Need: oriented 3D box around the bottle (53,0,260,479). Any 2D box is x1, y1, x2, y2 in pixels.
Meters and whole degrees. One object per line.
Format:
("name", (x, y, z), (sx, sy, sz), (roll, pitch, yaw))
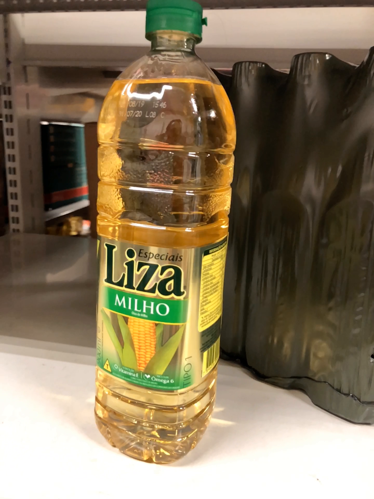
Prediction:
("bottle", (-0.014, -0.012, 0.236), (0.080, 0.249, 0.070), (7, 15, 21))
